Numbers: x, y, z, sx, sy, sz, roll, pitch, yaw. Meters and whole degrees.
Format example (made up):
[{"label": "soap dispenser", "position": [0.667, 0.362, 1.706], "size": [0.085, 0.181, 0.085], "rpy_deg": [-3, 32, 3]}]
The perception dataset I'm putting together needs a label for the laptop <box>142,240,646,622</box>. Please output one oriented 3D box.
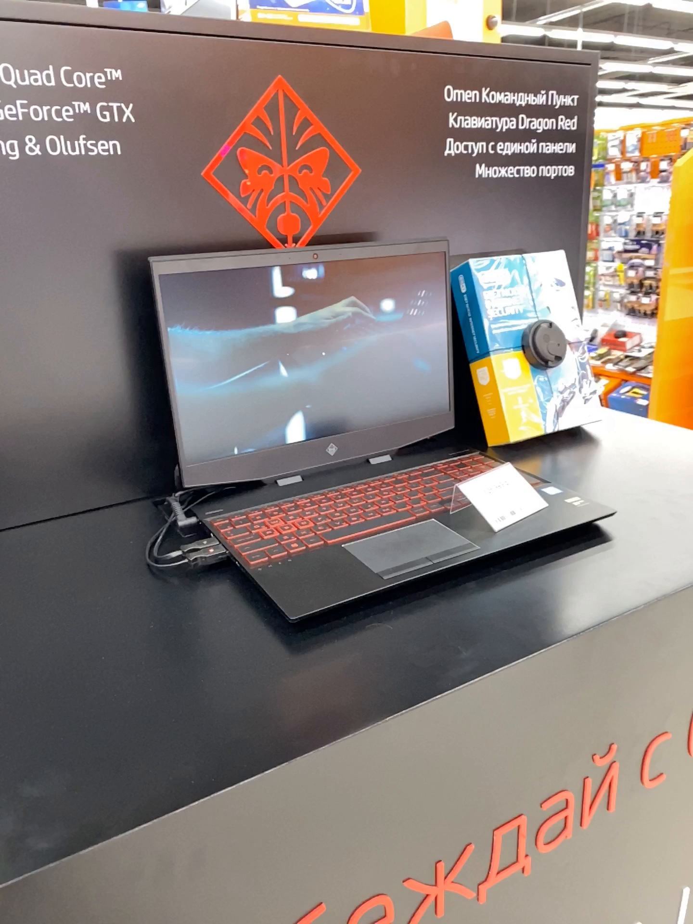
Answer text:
[{"label": "laptop", "position": [0.035, -0.075, 0.700], "size": [0.358, 0.247, 0.303], "rpy_deg": [-12, 22, -28]}]
